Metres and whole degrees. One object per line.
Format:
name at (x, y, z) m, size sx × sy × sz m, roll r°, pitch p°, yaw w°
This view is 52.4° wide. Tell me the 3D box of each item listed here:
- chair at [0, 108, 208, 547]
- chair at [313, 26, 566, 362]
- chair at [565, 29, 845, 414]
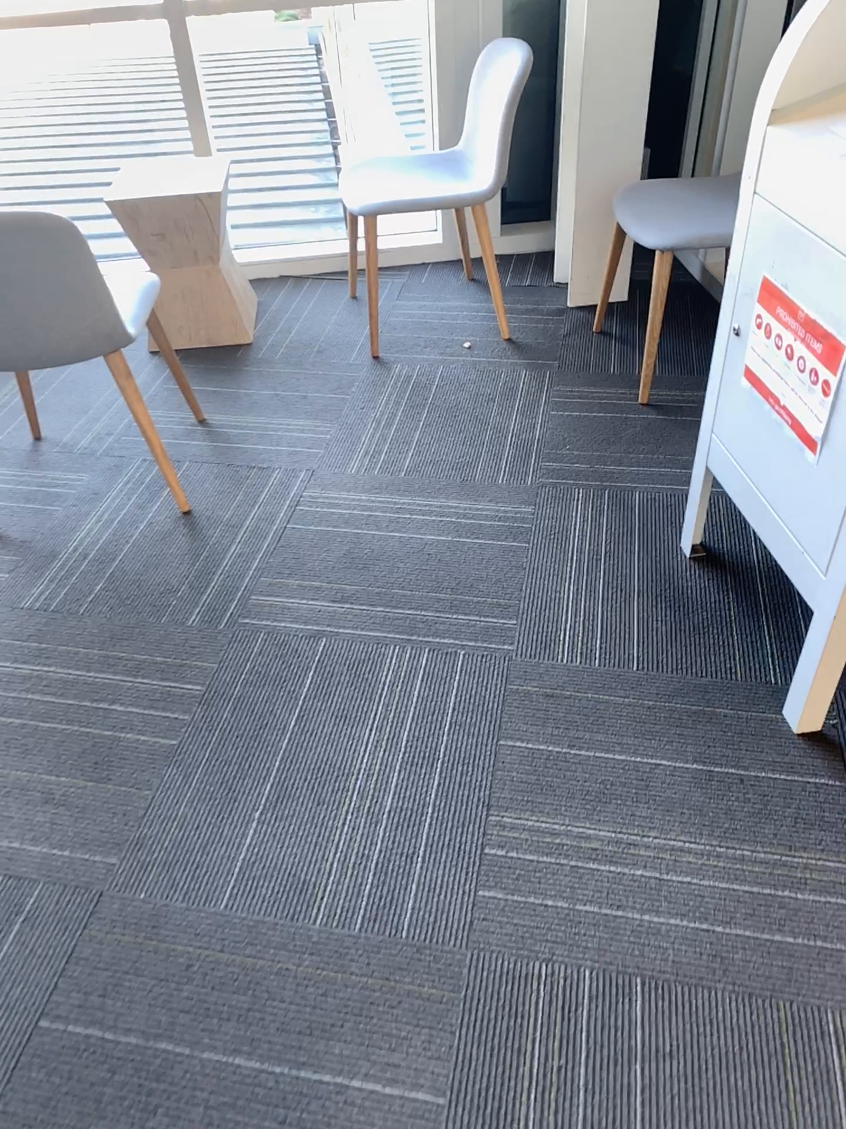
chair at (-0.885, -0.560, 2.035) m, size 0.560 × 0.765 × 0.604 m, roll -7°, pitch 41°, yaw -4°
chair at (0.033, -1.148, 2.656) m, size 0.600 × 0.745 × 0.644 m, roll -9°, pitch 41°, yaw -6°
chair at (0.800, -0.948, 2.368) m, size 0.600 × 0.765 × 0.644 m, roll -9°, pitch 41°, yaw -6°
